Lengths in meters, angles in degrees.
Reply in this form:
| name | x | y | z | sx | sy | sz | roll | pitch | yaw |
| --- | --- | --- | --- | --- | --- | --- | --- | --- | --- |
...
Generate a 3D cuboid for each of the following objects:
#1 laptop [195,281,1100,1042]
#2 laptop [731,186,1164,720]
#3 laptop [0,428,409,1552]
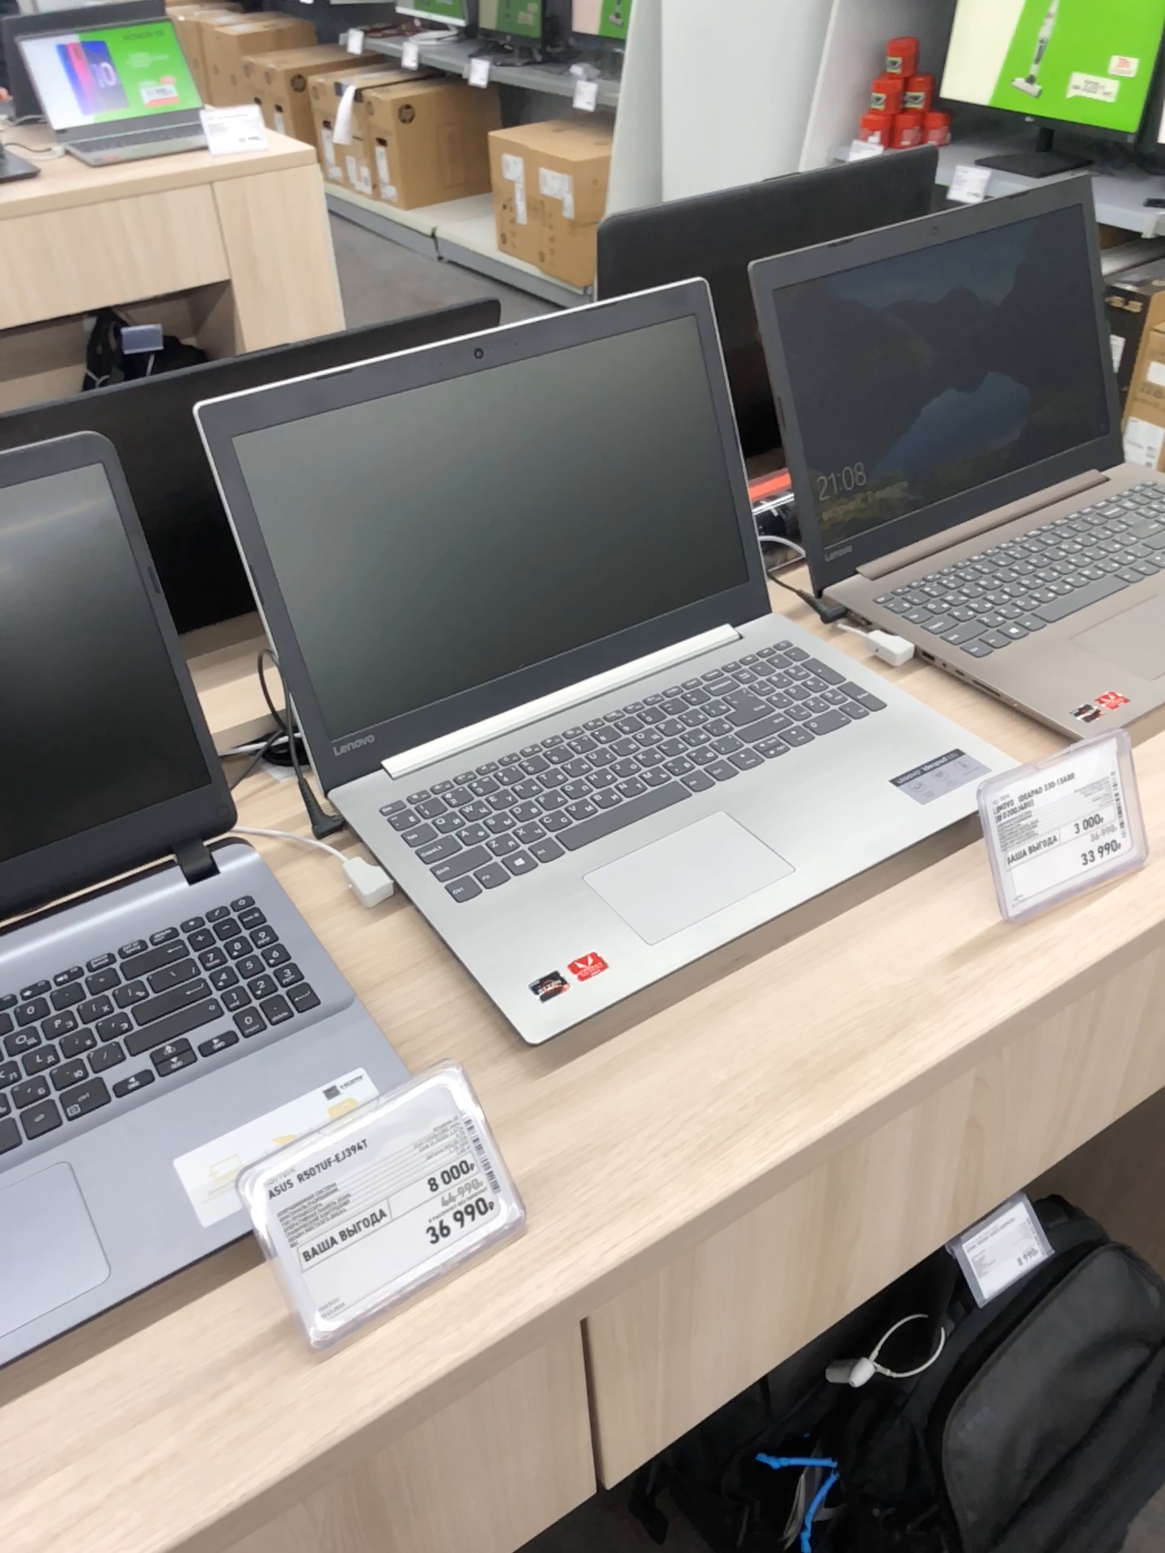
| name | x | y | z | sx | sy | sz | roll | pitch | yaw |
| --- | --- | --- | --- | --- | --- | --- | --- | --- | --- |
| laptop | 0.028 | -0.106 | 0.759 | 0.366 | 0.220 | 0.336 | -24 | 42 | -25 |
| laptop | 0.373 | -0.259 | 0.934 | 0.357 | 0.222 | 0.327 | -25 | 42 | -27 |
| laptop | -0.300 | 0.048 | 0.563 | 0.327 | 0.232 | 0.319 | -22 | 41 | -24 |
